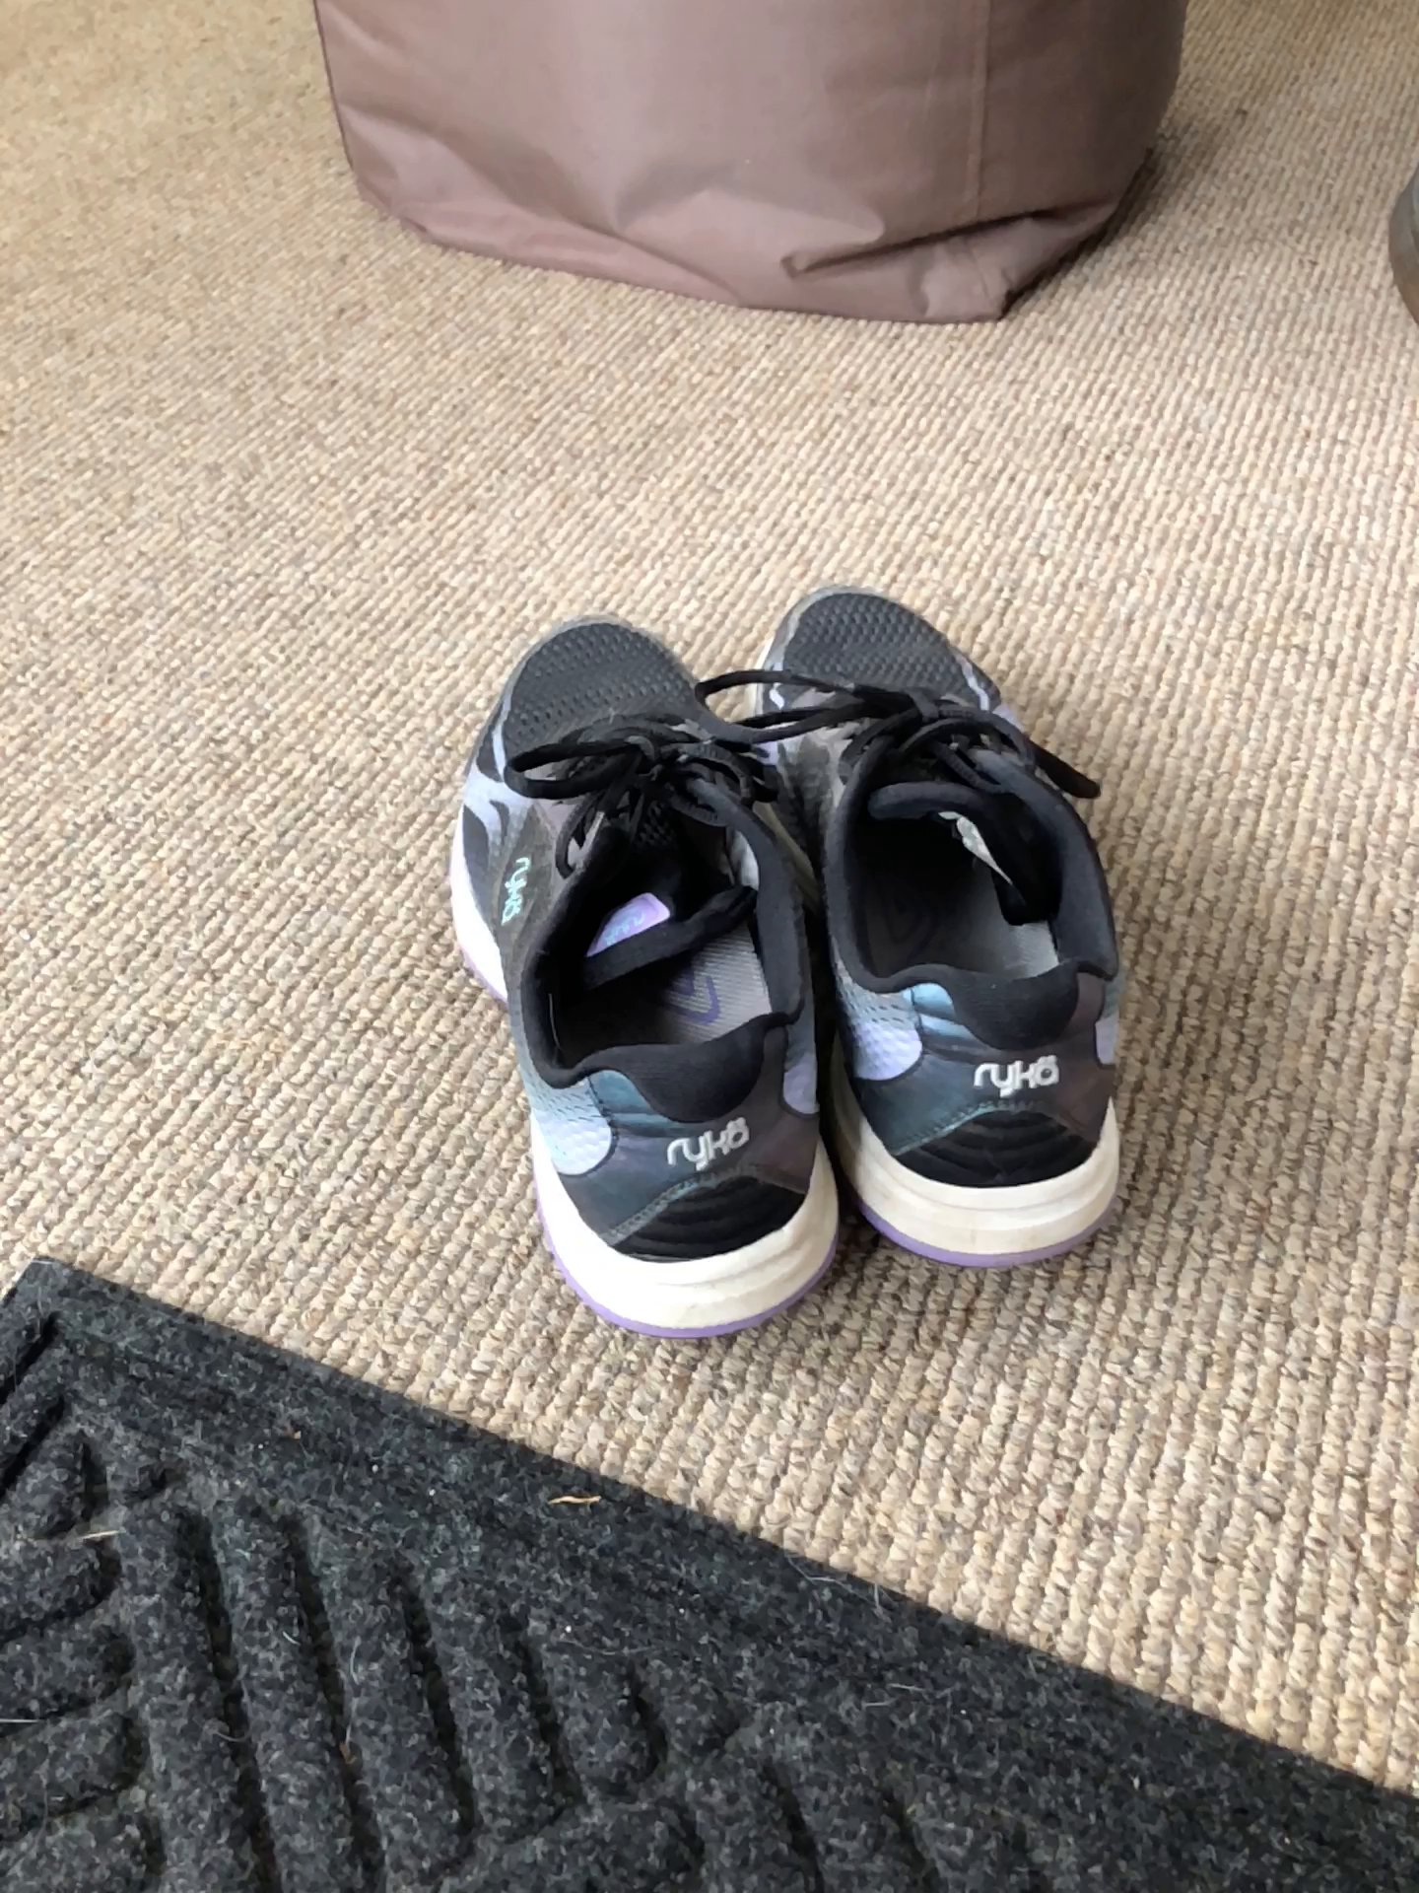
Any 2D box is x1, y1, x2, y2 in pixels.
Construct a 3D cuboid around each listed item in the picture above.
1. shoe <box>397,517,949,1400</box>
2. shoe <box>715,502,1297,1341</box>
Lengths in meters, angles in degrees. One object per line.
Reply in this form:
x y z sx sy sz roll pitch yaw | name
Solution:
-0.025 -0.012 0.483 0.110 0.103 0.258 -8 47 -9 | shoe
0.072 -0.023 0.496 0.102 0.103 0.258 -5 47 -6 | shoe
